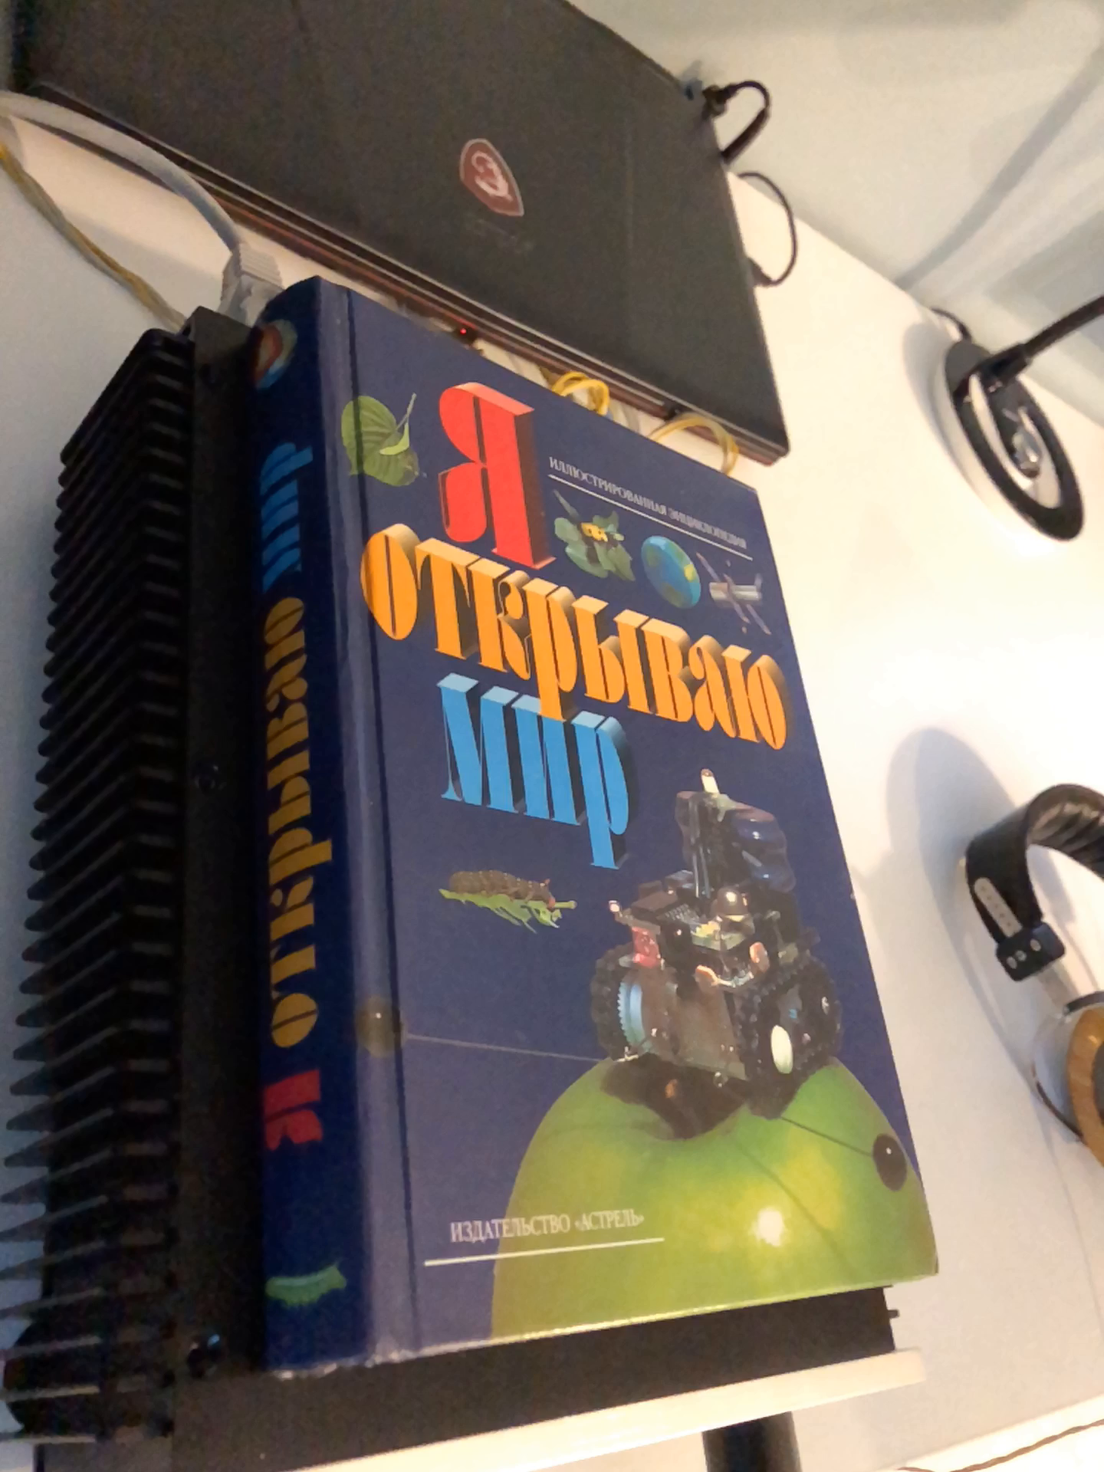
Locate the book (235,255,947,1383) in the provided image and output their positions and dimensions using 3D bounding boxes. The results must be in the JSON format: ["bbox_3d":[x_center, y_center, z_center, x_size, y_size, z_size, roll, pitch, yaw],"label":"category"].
[{"bbox_3d":[0.008,0.015,0.325,0.187,0.030,0.256,15,57,-39],"label":"book"}]
